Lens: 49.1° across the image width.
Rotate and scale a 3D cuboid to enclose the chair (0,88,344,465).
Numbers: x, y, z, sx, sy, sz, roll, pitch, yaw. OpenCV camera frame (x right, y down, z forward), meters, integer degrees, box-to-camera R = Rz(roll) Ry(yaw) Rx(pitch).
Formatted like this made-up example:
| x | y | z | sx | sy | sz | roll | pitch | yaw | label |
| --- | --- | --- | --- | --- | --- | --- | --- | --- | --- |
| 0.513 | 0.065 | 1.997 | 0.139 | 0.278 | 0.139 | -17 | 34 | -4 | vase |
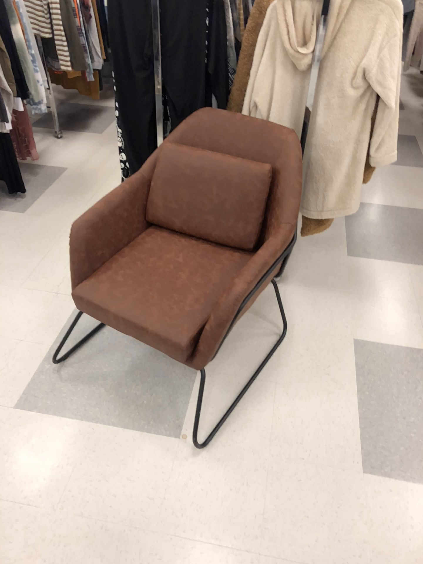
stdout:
| x | y | z | sx | sy | sz | roll | pitch | yaw | label |
| --- | --- | --- | --- | --- | --- | --- | --- | --- | --- |
| -0.105 | -0.074 | 1.618 | 0.735 | 0.849 | 0.763 | 23 | 43 | 24 | chair |
